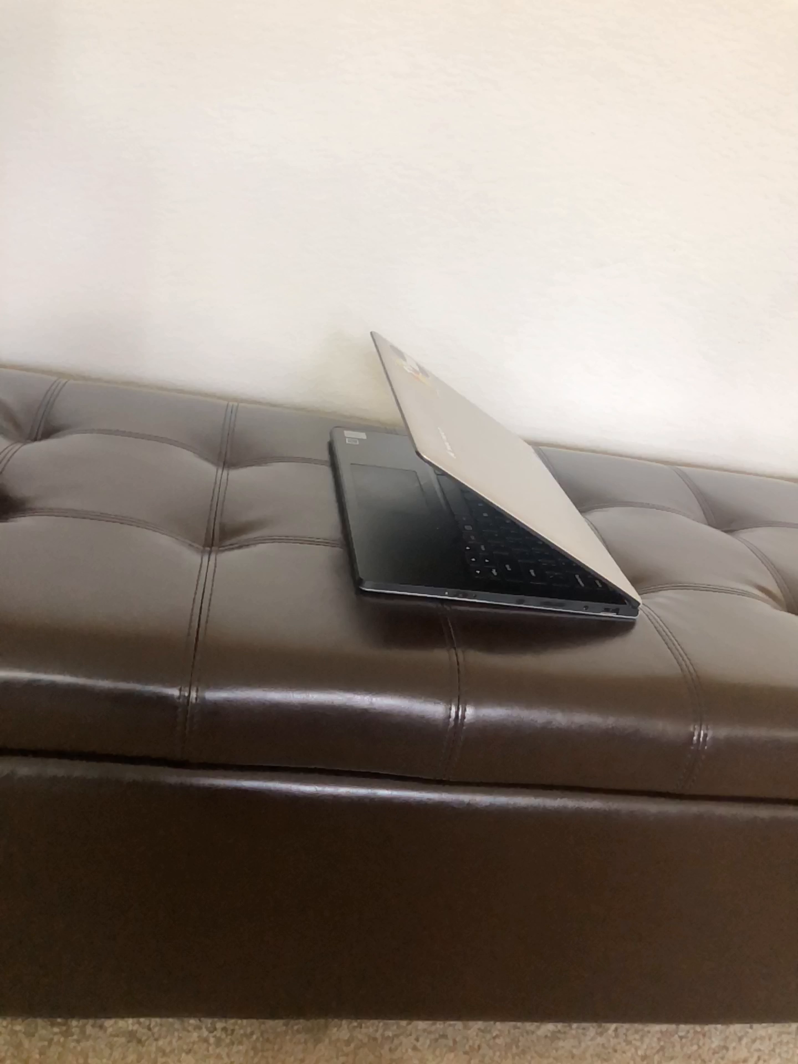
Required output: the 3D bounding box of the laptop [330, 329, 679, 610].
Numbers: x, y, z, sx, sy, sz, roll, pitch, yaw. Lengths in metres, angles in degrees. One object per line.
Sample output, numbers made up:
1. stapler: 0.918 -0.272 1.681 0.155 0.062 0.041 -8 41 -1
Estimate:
1. laptop: 0.060 -0.065 0.714 0.197 0.097 0.294 6 26 -12
